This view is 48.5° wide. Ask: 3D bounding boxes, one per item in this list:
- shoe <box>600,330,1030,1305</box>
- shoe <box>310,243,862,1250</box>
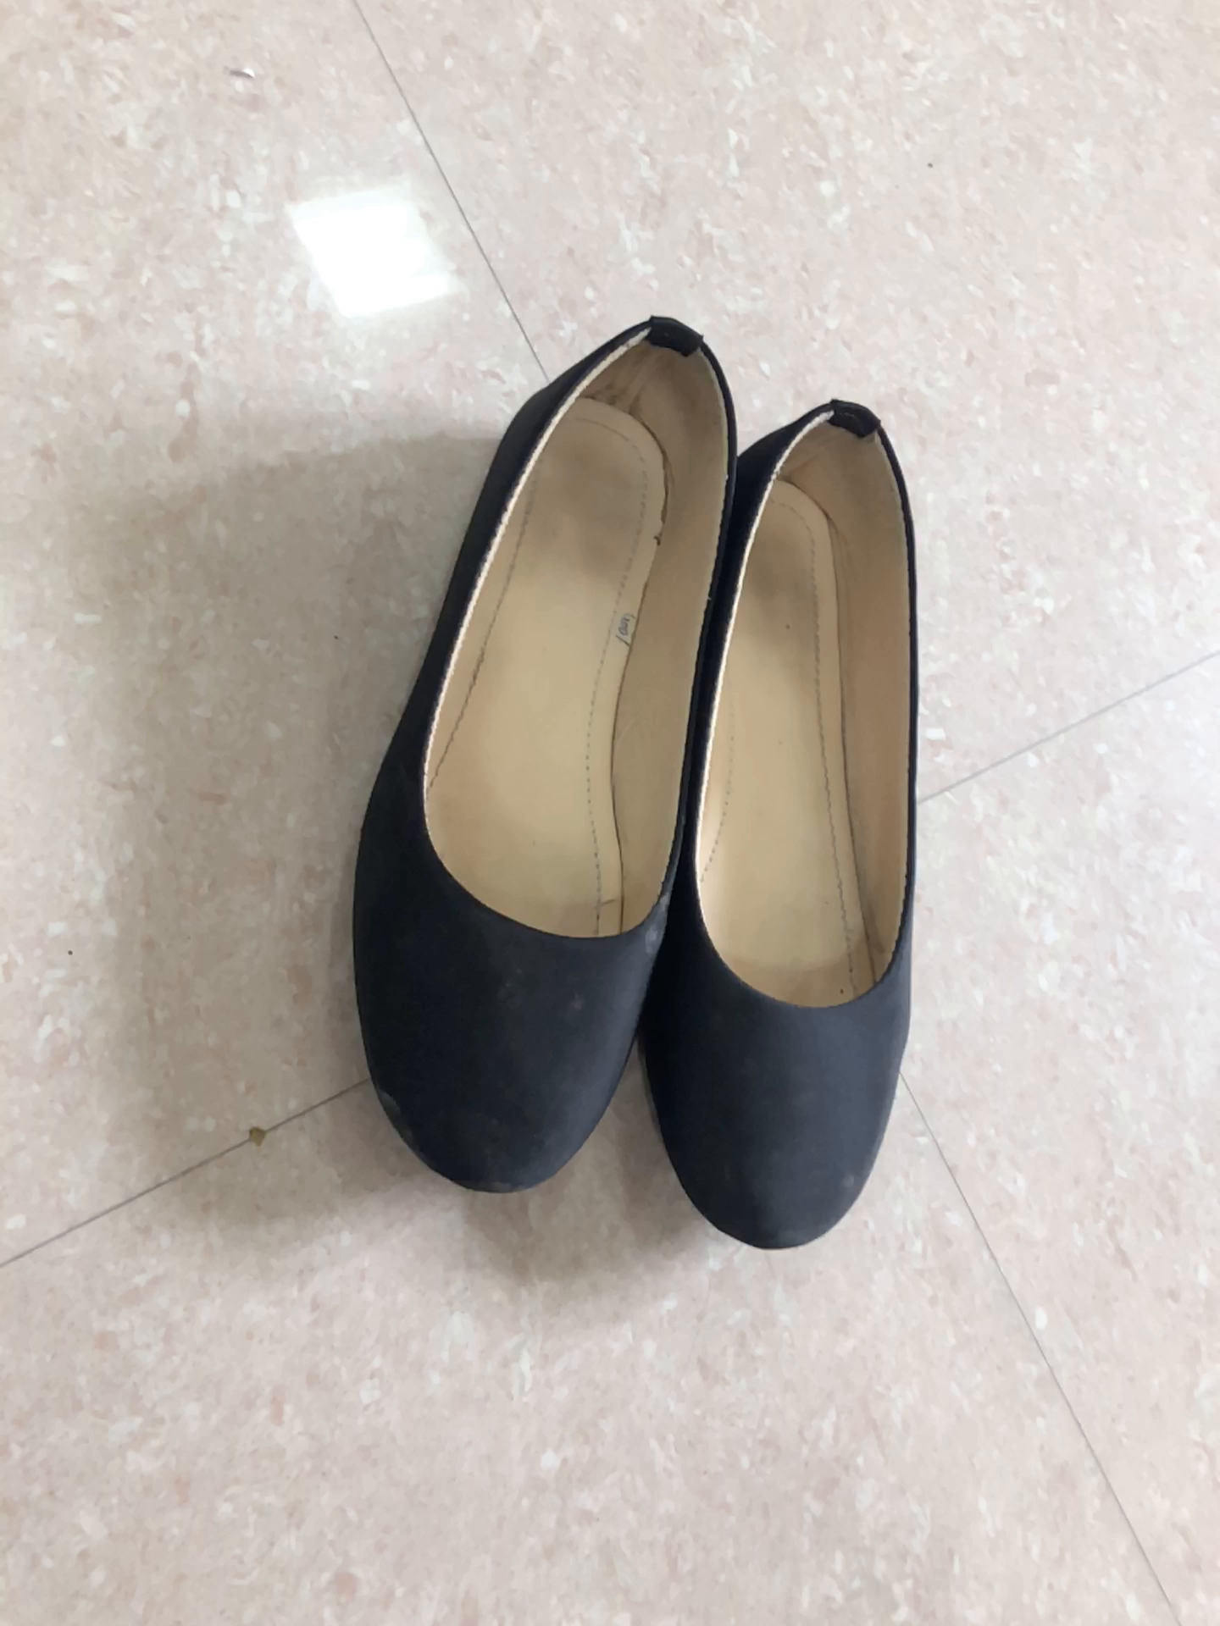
[{"bbox_3d":[0.061,0.001,0.383,0.090,0.060,0.250,11,74,-20],"label":"shoe"},{"bbox_3d":[-0.002,-0.019,0.373,0.090,0.060,0.250,17,72,-17],"label":"shoe"}]
